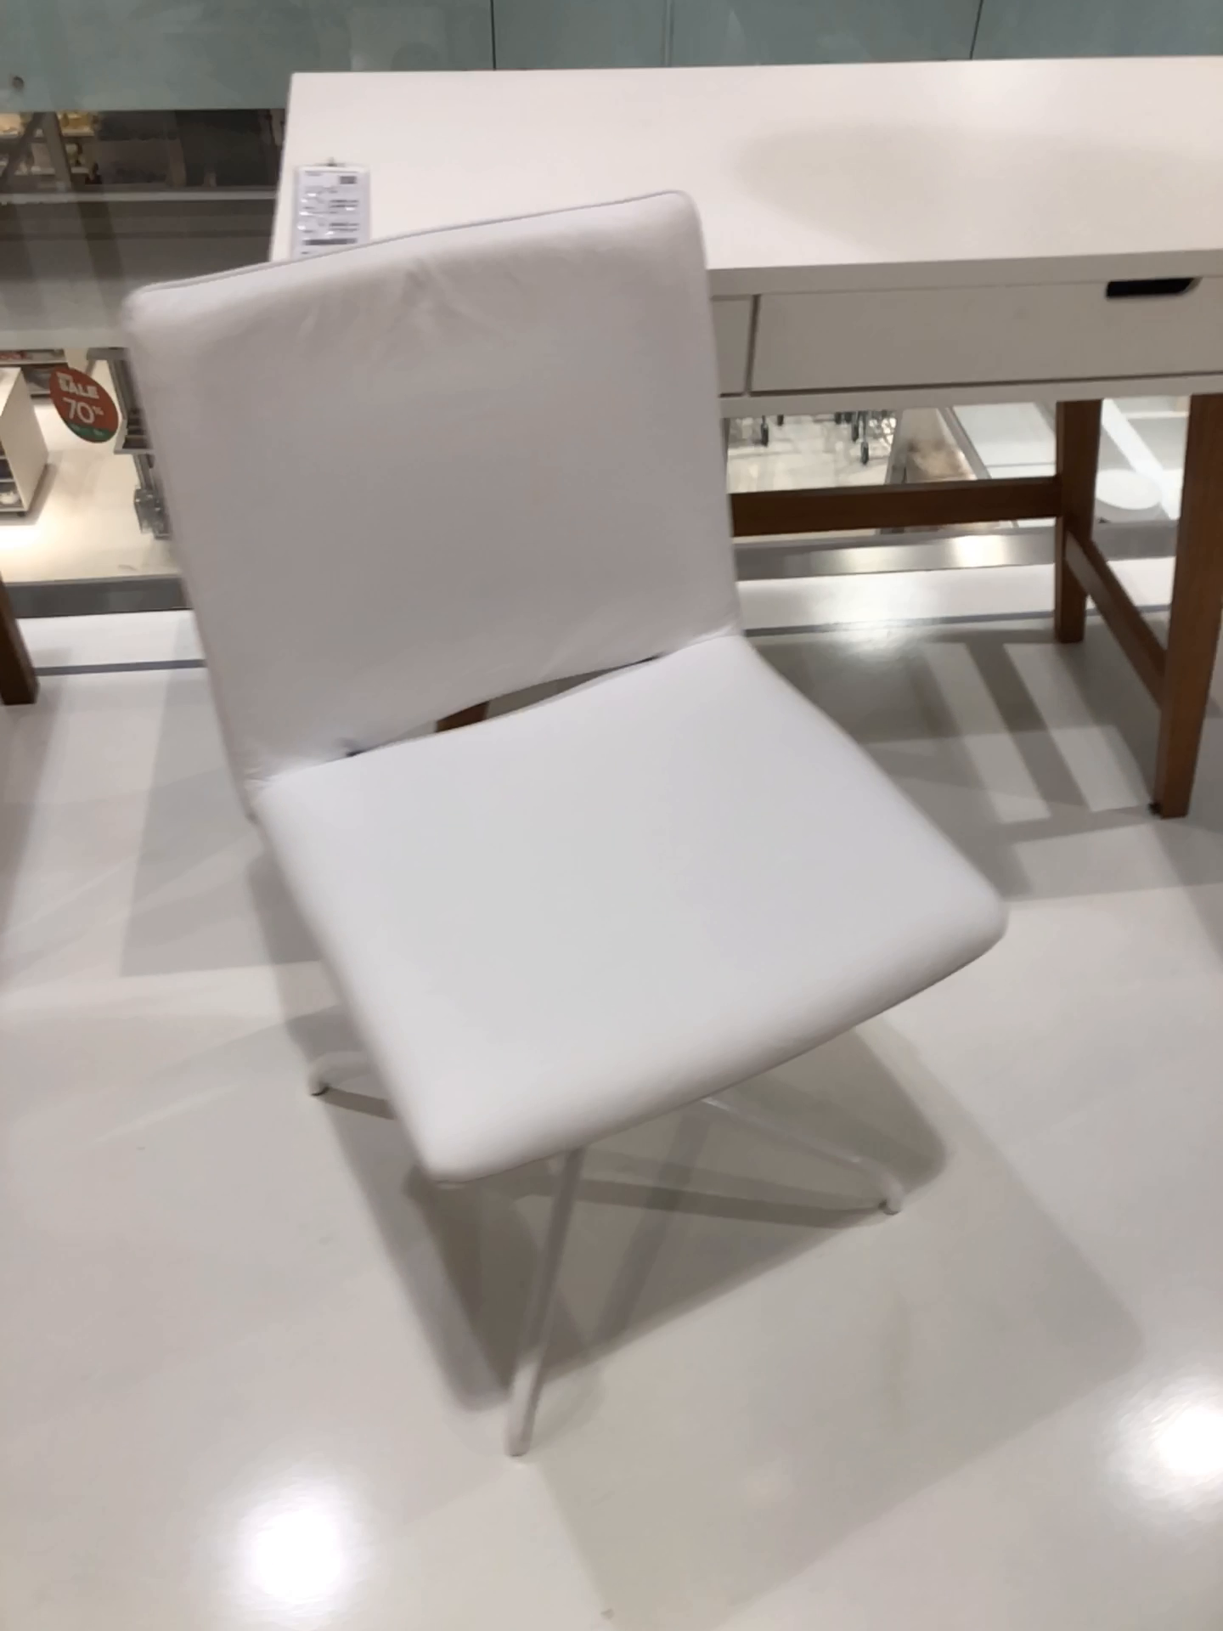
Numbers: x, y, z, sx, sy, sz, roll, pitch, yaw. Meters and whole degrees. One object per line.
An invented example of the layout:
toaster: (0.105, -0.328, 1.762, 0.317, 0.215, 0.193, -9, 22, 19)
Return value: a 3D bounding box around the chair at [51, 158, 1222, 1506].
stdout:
chair: (-0.015, 0.040, 1.074, 0.511, 0.844, 0.503, -20, 49, -20)
